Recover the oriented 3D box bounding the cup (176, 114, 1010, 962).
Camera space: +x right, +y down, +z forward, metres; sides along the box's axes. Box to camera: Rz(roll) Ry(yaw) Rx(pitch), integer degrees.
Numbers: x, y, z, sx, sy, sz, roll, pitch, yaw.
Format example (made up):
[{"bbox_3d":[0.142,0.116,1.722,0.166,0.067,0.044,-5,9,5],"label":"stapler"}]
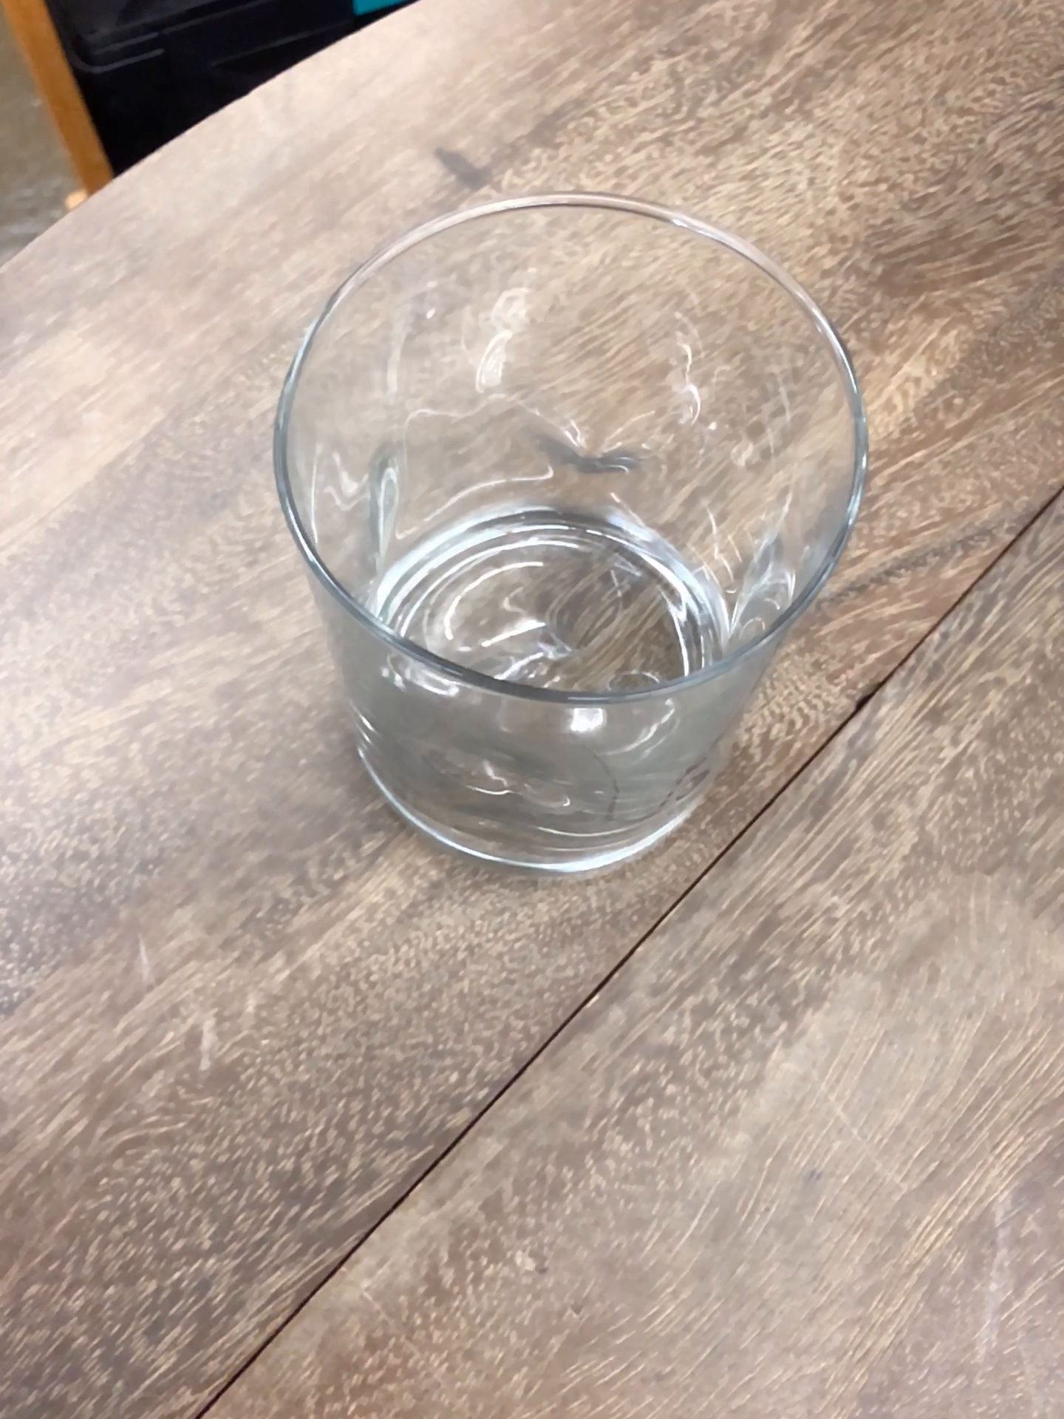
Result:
[{"bbox_3d":[0.004,-0.020,0.200,0.084,0.098,0.084,0,69,-1],"label":"cup"}]
